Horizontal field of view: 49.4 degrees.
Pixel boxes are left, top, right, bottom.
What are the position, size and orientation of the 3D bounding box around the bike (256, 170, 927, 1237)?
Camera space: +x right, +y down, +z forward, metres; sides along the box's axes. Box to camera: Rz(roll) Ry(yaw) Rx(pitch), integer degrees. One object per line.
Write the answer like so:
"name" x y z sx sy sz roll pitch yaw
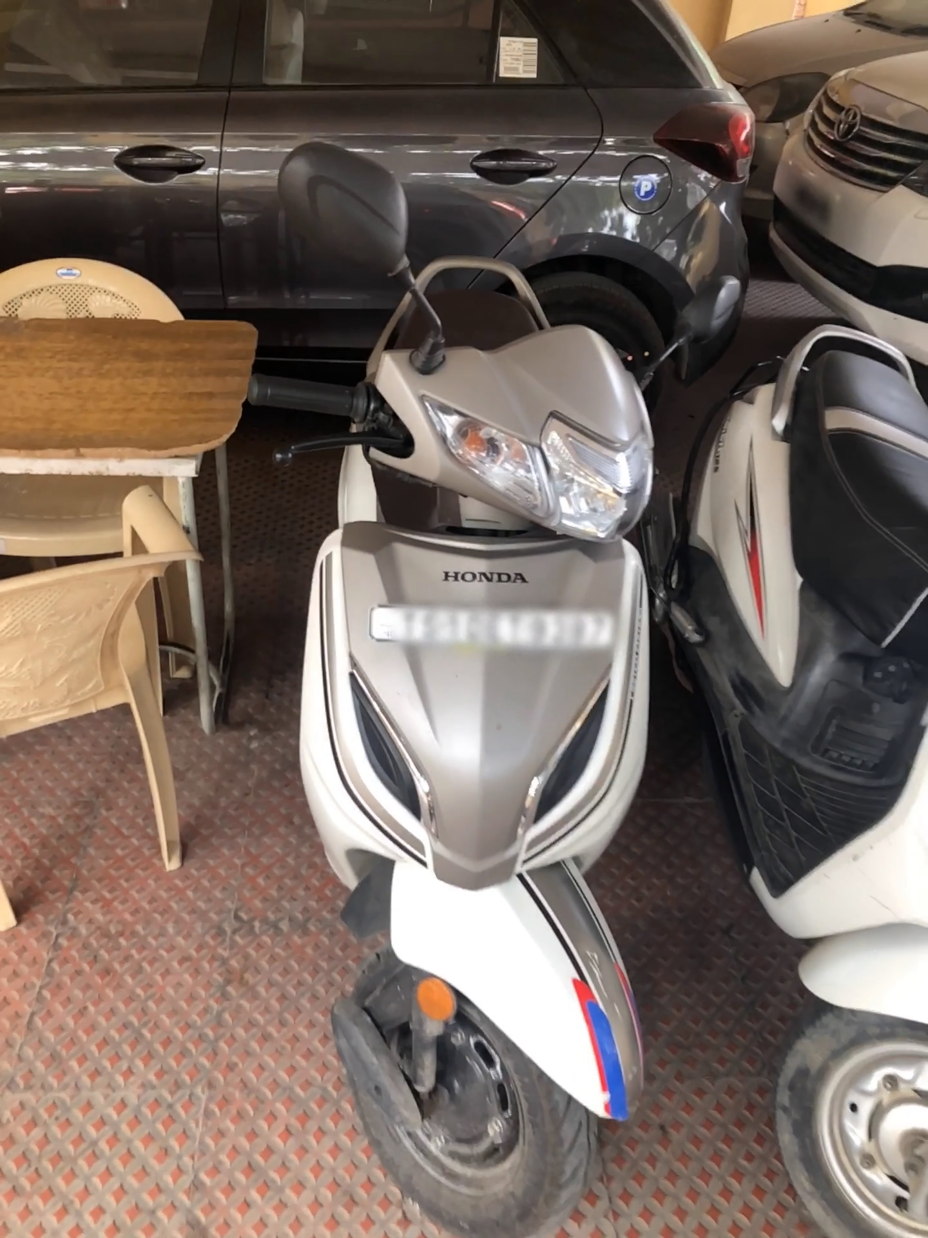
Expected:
"bike" 0.027 0.023 1.647 0.626 0.850 1.463 -1 42 -8
